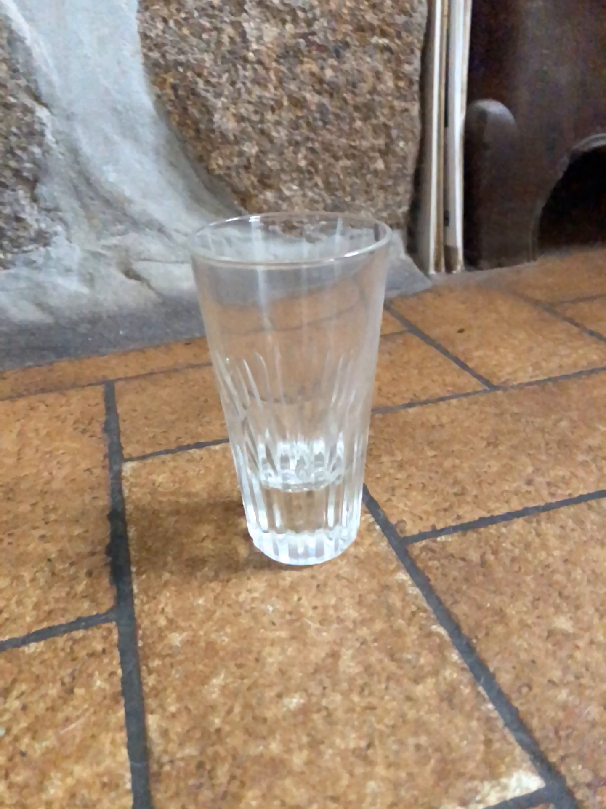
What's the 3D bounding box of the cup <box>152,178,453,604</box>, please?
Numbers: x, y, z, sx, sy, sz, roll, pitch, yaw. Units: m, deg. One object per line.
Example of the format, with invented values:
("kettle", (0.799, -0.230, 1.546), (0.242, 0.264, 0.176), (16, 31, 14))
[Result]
("cup", (0.000, -0.010, 0.238), (0.070, 0.119, 0.070), (-3, 27, 1))
